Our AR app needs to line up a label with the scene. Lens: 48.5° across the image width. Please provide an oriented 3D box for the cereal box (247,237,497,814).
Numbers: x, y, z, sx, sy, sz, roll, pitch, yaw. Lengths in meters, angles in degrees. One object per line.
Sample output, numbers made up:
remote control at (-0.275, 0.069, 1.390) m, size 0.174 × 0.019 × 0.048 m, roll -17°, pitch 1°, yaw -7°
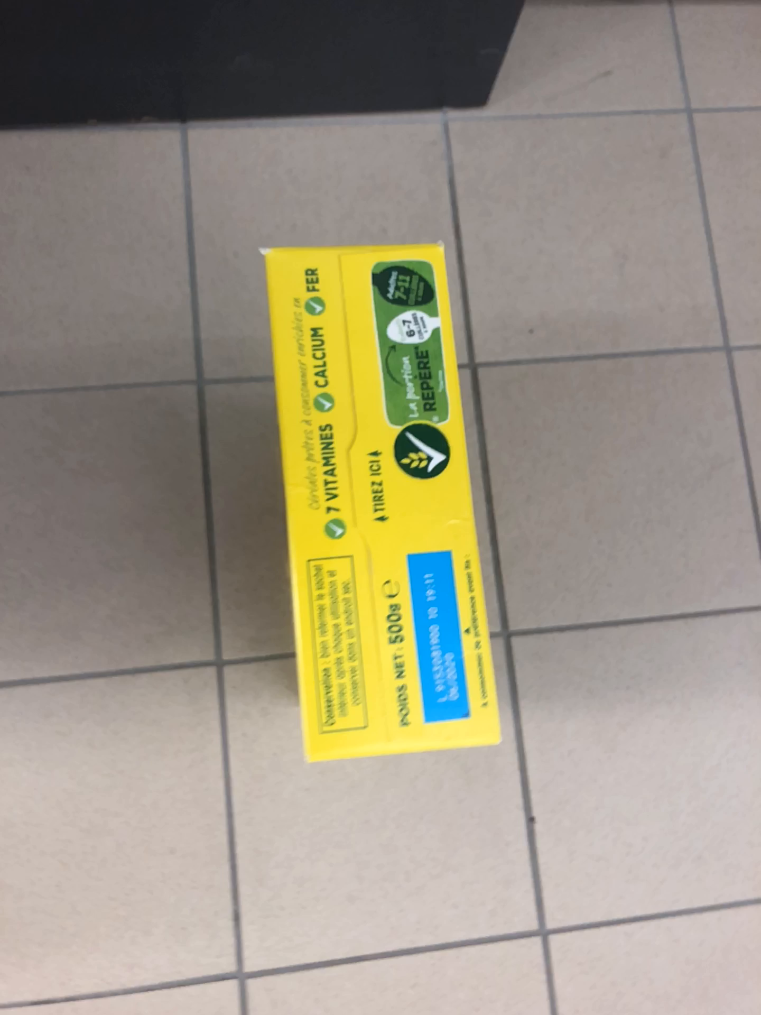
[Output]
cereal box at (-0.021, 0.022, 0.445) m, size 0.070 × 0.300 × 0.200 m, roll -4°, pitch 82°, yaw -7°
